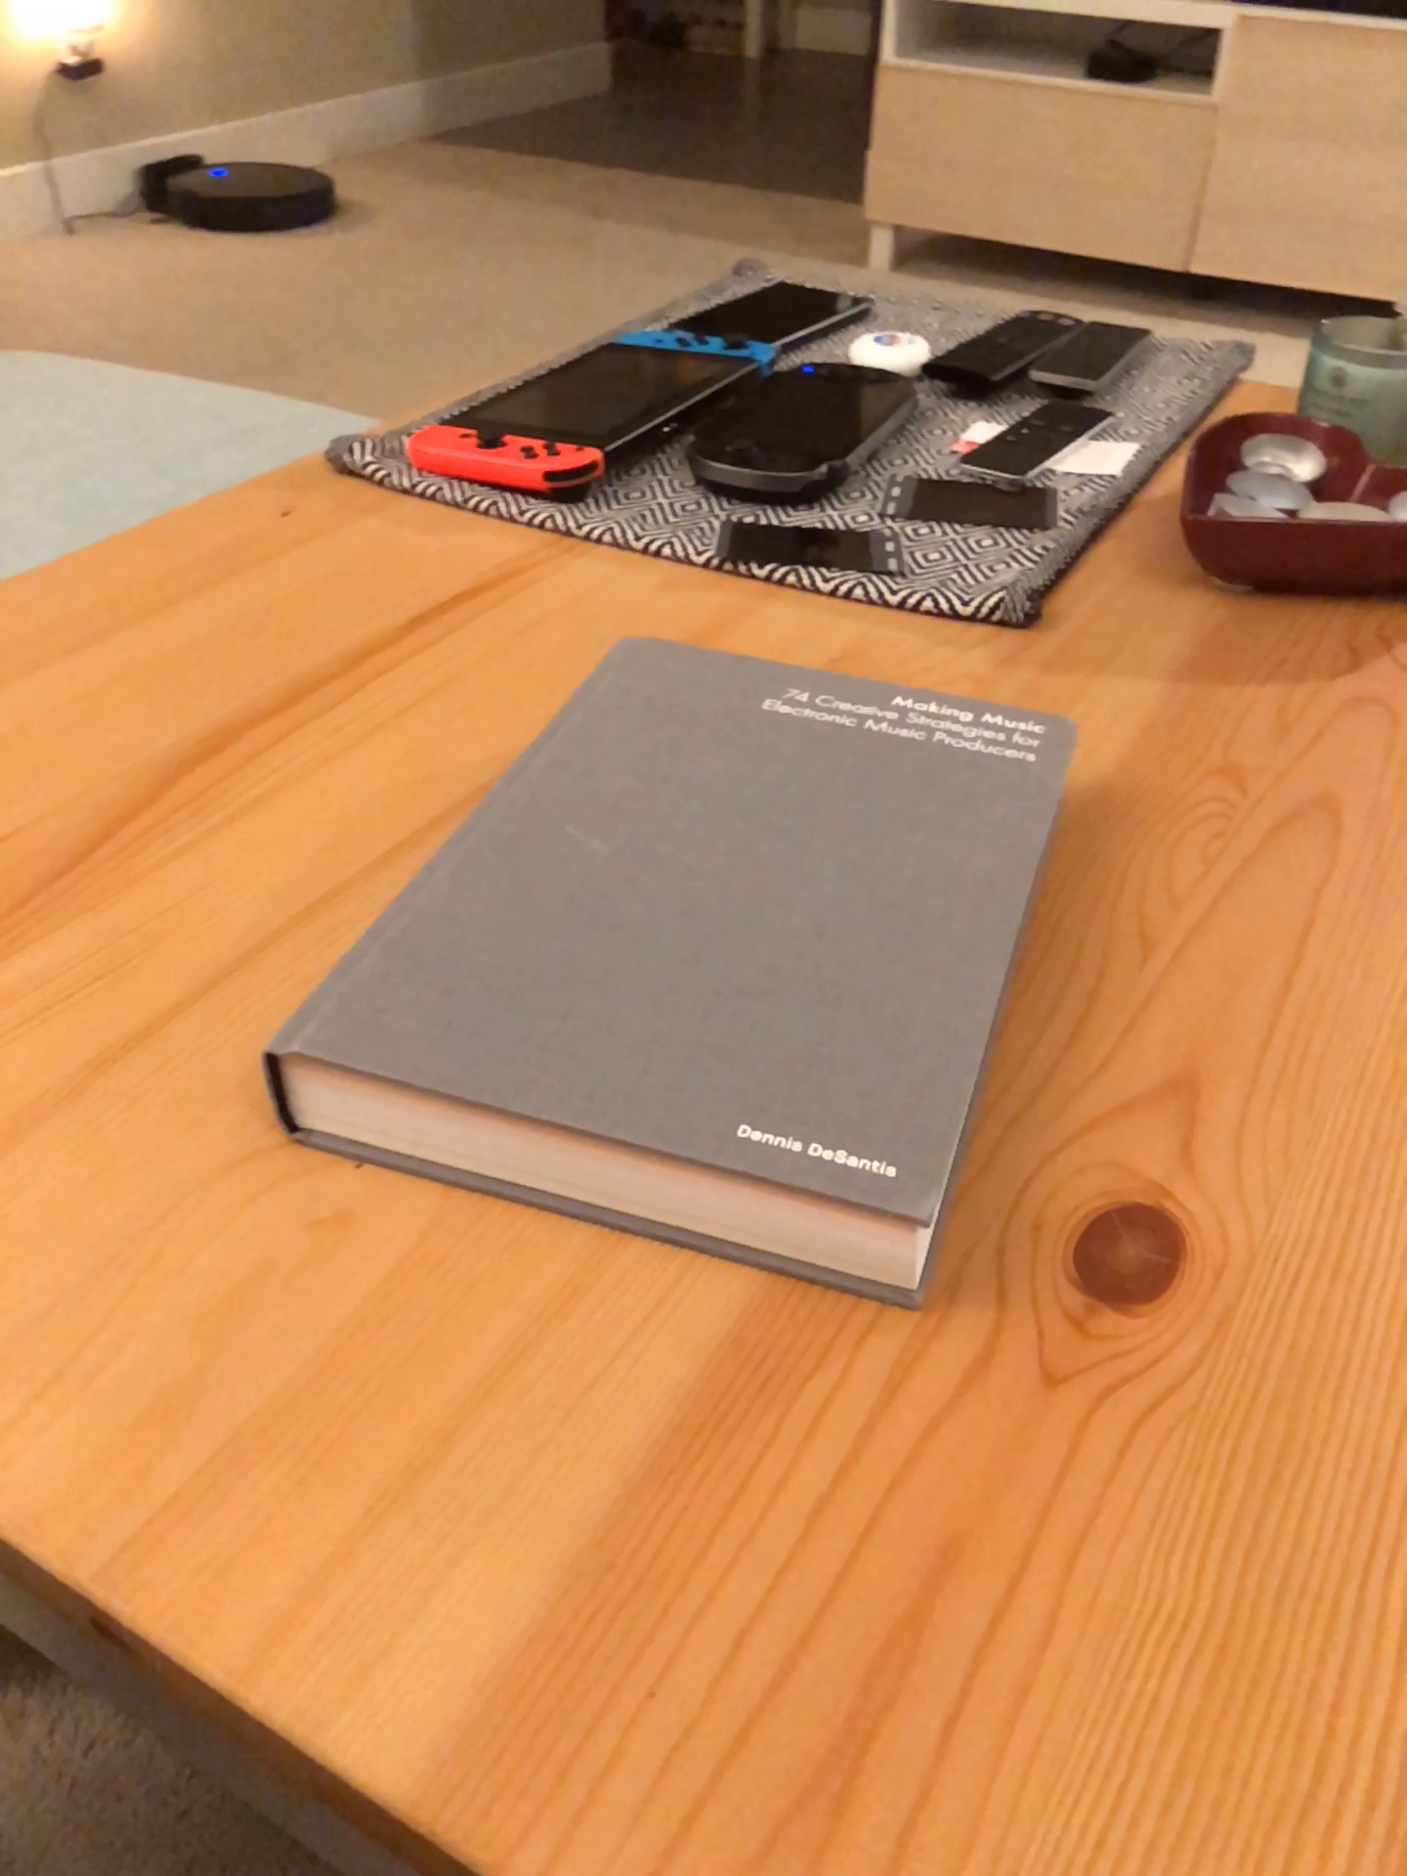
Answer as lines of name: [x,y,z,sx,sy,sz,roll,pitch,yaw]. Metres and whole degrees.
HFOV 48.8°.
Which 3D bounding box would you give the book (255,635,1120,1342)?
book: [0.013,-0.008,0.430,0.166,0.030,0.229,13,39,15]
